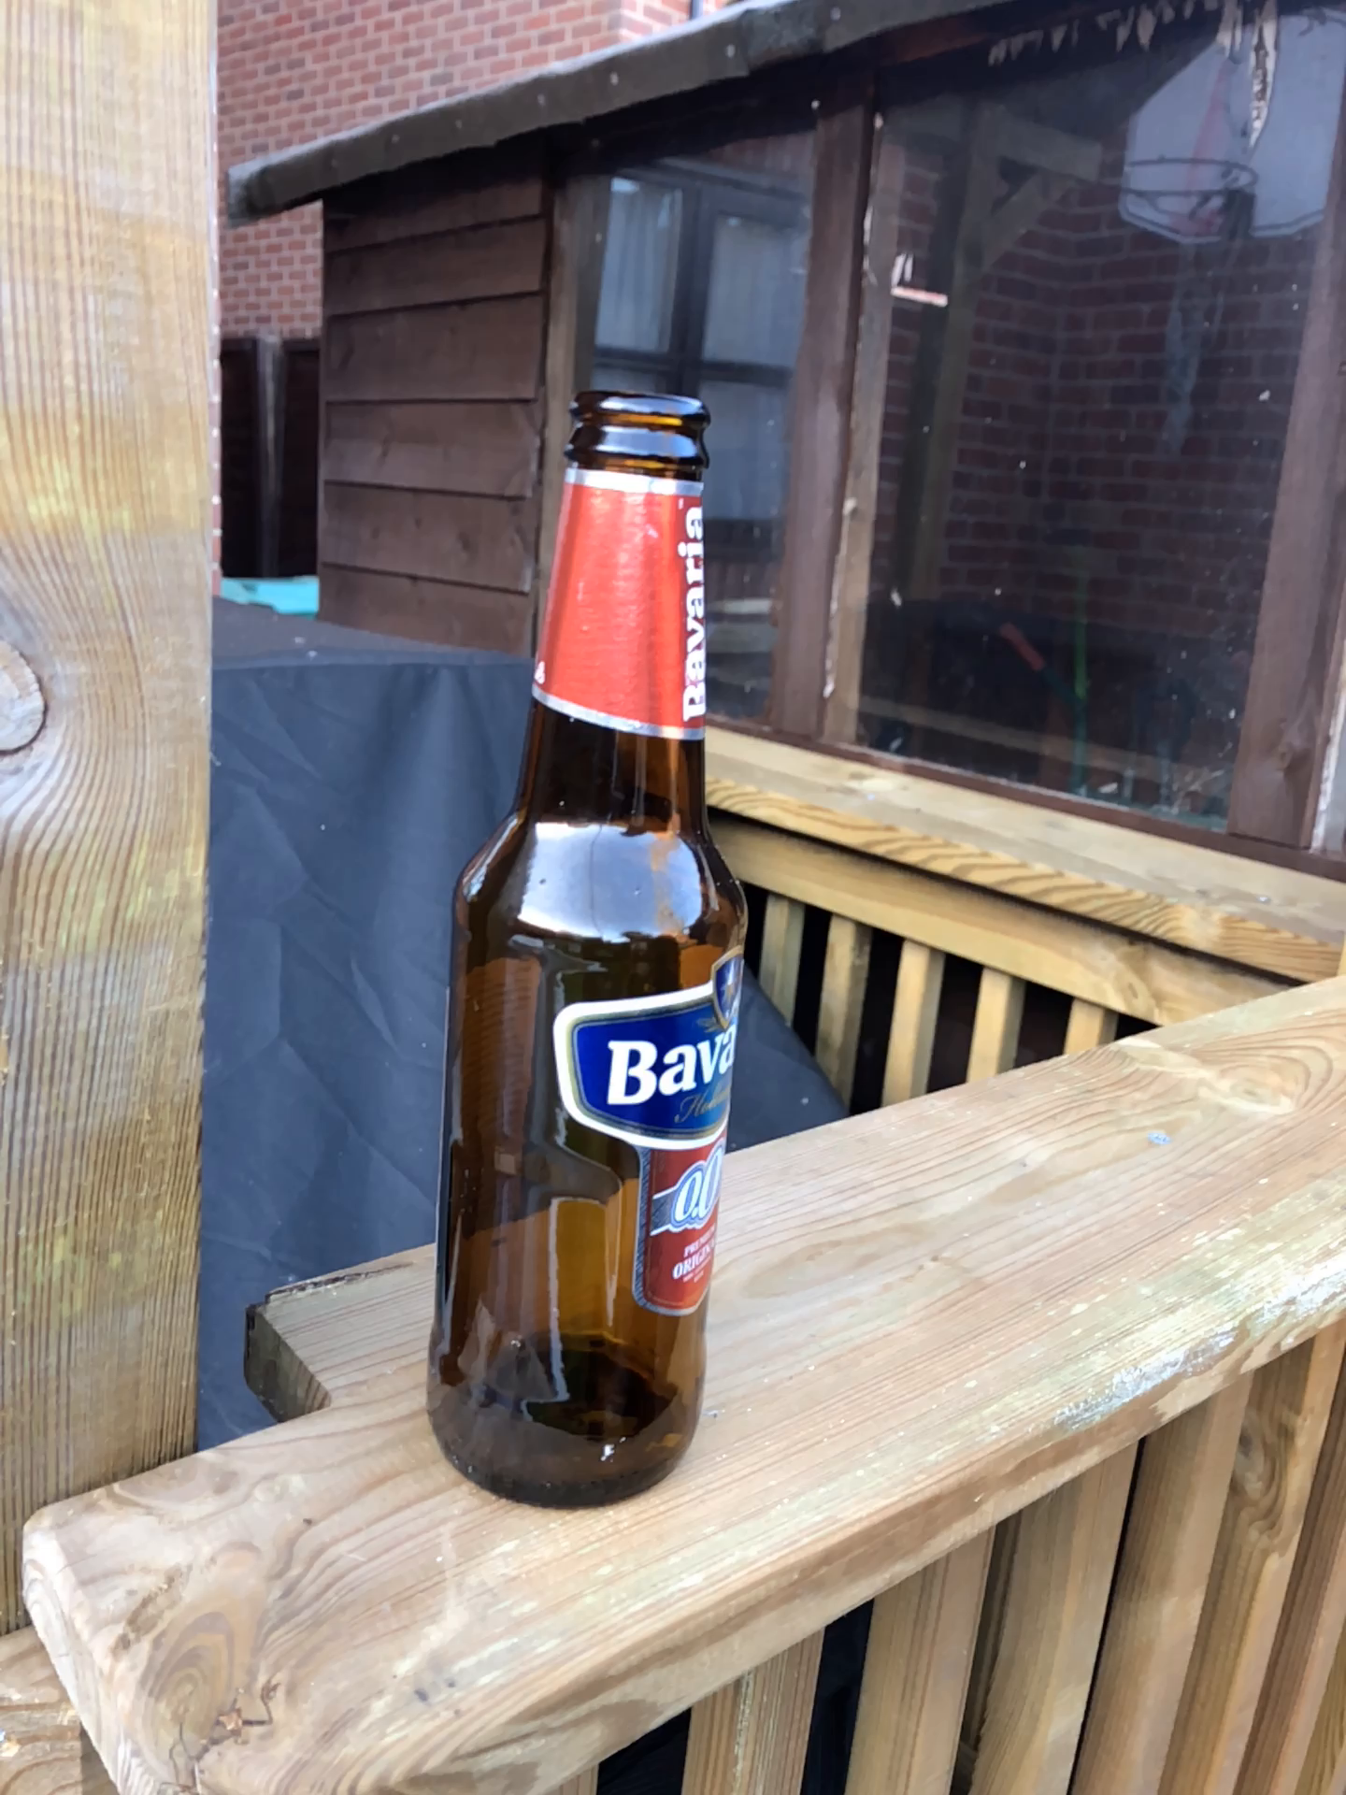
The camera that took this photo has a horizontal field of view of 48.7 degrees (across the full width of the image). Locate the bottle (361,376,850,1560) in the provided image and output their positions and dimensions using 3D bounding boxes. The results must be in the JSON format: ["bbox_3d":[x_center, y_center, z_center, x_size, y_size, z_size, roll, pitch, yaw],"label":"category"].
[{"bbox_3d":[-0.015,0.010,0.296,0.060,0.209,0.070,10,15,26],"label":"bottle"}]
